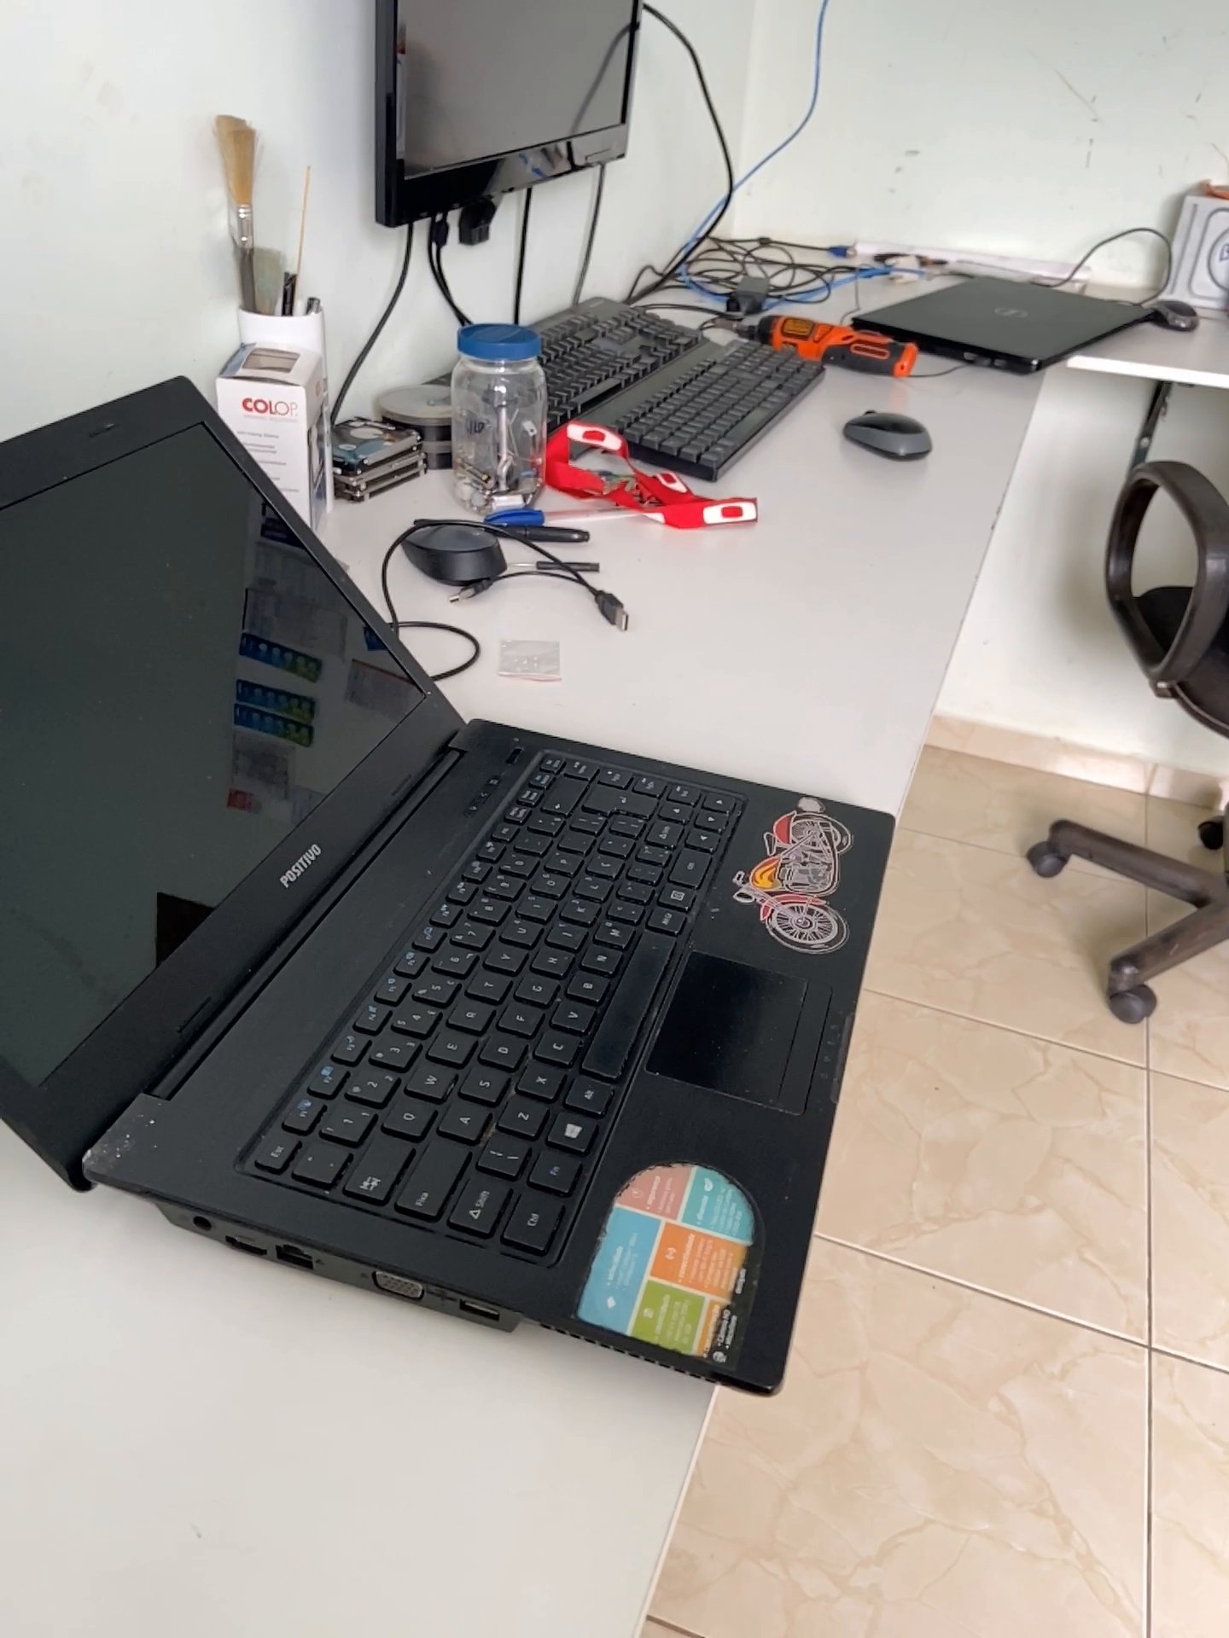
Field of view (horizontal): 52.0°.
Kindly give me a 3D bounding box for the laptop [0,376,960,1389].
[{"bbox_3d":[-0.088,-0.028,0.502,0.392,0.162,0.336,13,34,12],"label":"laptop"}]
